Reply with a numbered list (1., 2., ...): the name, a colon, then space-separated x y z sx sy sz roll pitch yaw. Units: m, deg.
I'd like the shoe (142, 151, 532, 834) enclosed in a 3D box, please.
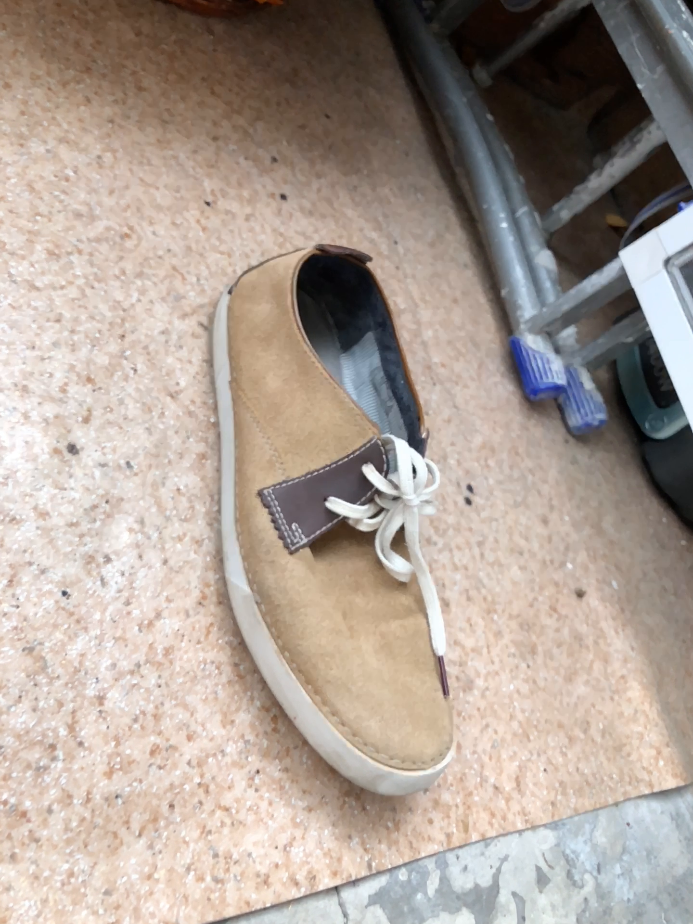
1. shoe: -0.017 0.008 0.388 0.110 0.089 0.301 7 61 -40
